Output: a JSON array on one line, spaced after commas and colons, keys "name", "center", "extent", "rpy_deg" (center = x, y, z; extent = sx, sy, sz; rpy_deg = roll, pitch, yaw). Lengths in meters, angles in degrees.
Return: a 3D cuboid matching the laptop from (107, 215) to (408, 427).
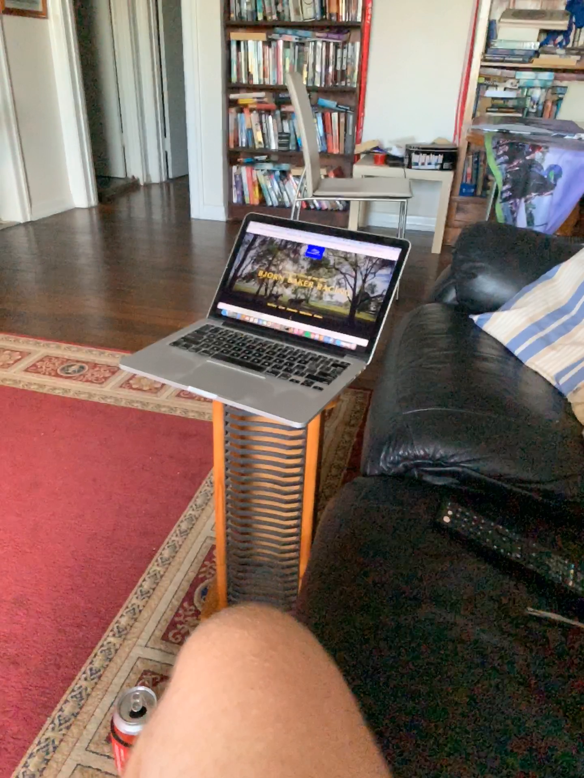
[{"name": "laptop", "center": [-0.037, -0.133, 0.906], "extent": [0.313, 0.160, 0.341], "rpy_deg": [18, 31, 25]}]
